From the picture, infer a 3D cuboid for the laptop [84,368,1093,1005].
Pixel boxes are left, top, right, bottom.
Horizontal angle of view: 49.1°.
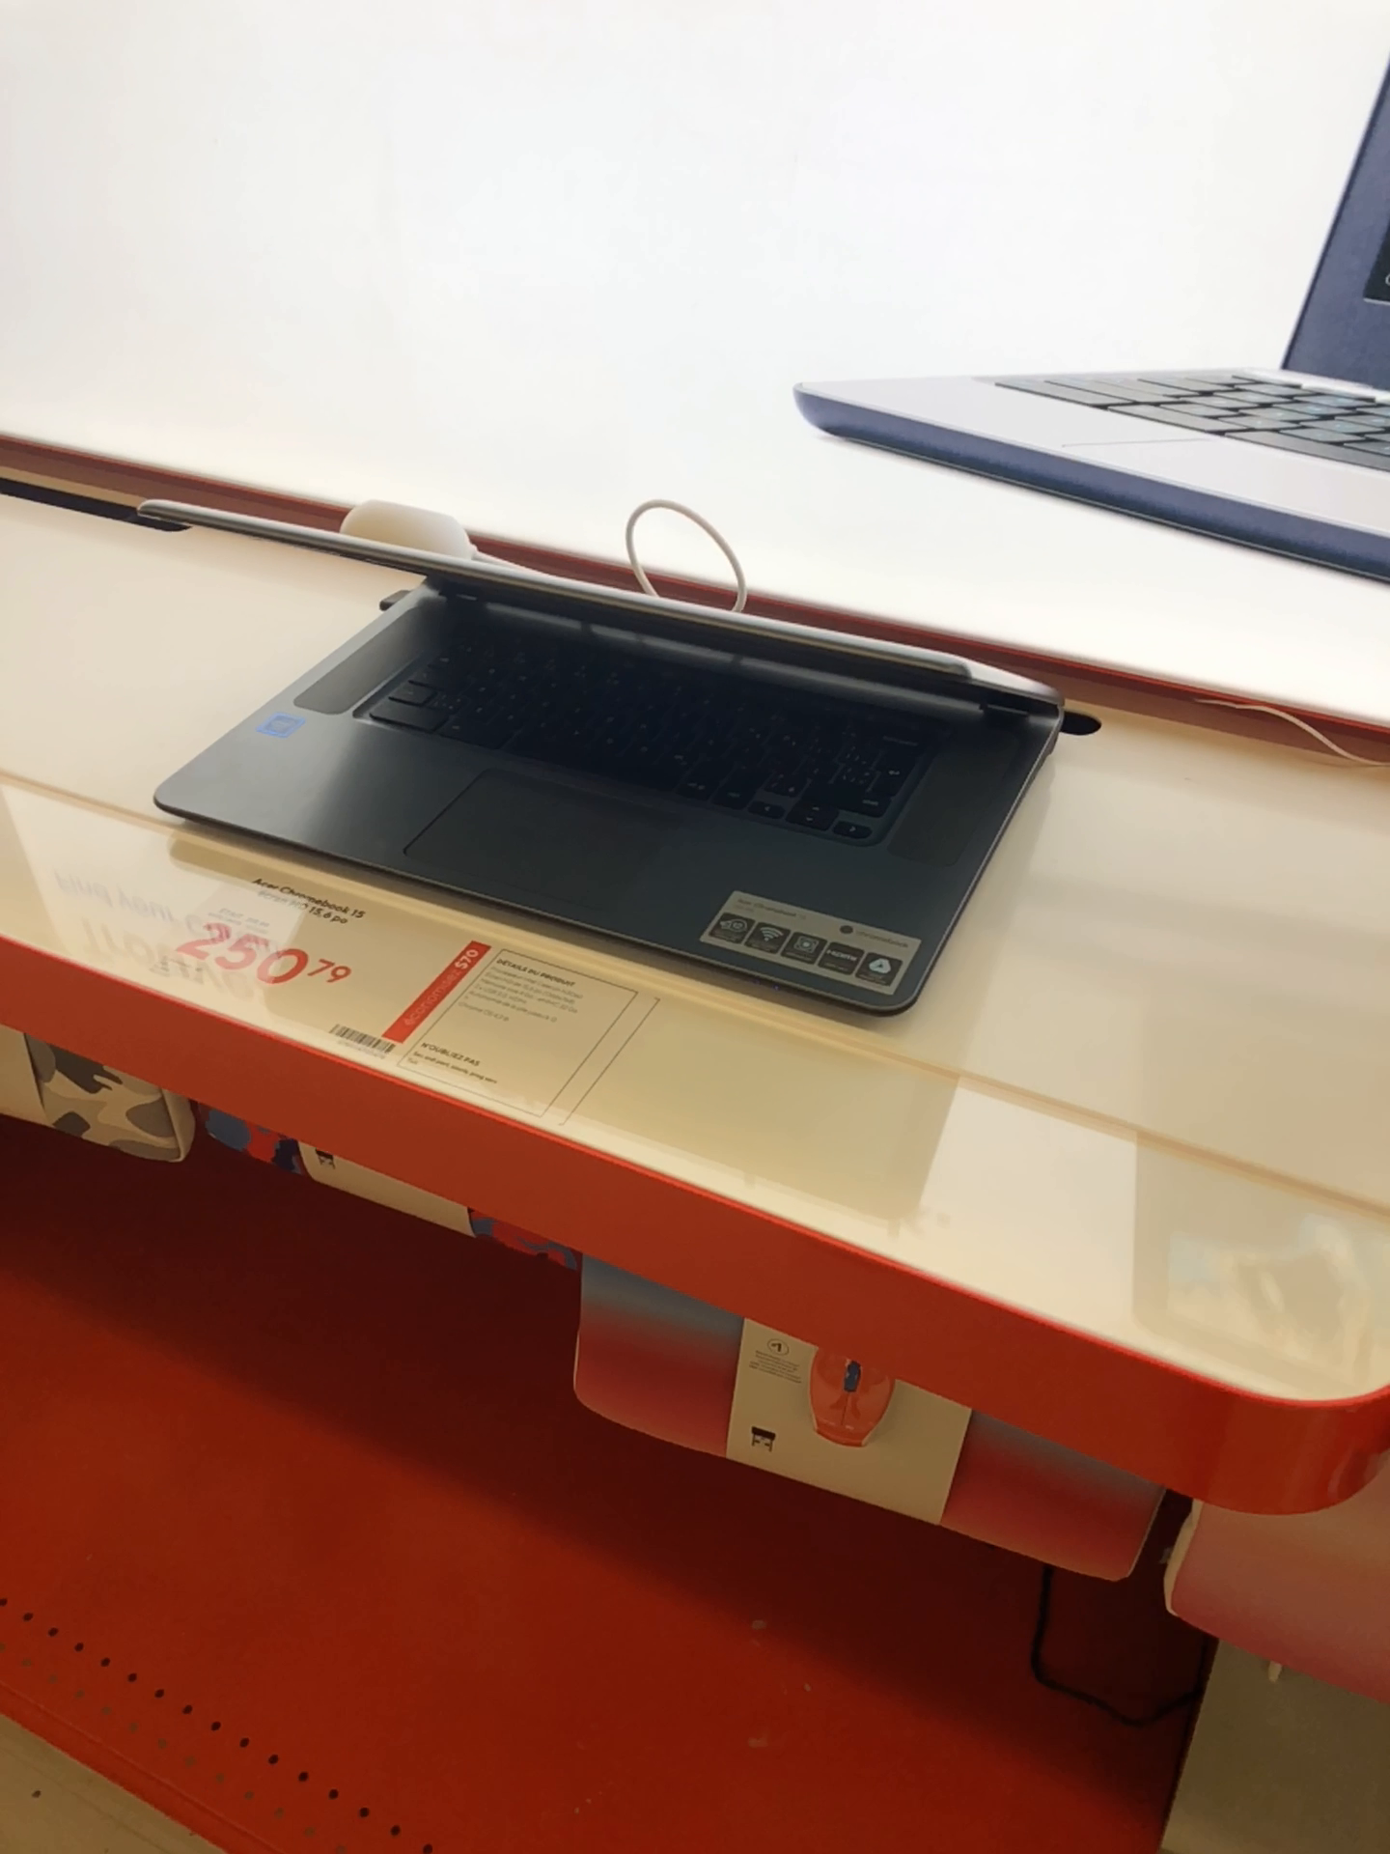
[{"bbox_3d":[-0.037,-0.132,0.689,0.364,0.122,0.238,15,41,20],"label":"laptop"}]
